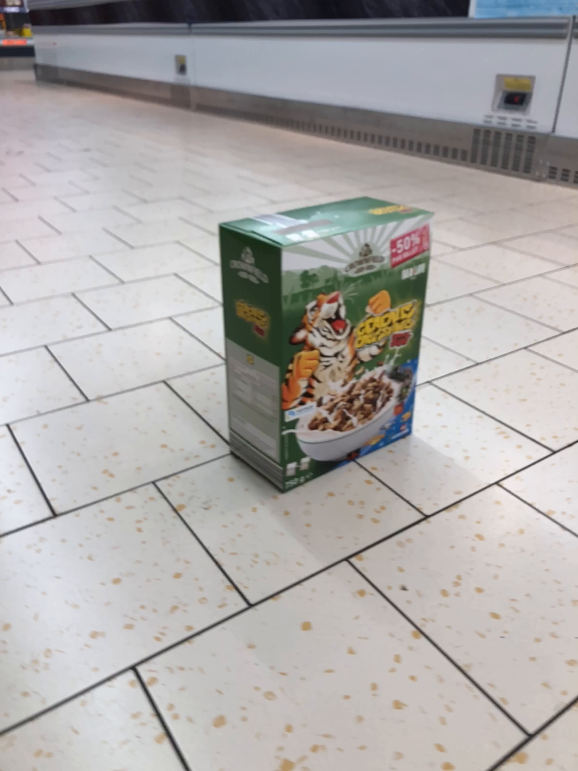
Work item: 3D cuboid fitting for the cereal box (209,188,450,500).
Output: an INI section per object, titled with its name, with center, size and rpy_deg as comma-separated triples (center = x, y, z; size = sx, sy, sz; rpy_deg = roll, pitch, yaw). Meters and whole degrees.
[cereal box]
center = 0.042, -0.052, 0.669
size = 0.211, 0.259, 0.110
rpy_deg = -20, 34, -34
